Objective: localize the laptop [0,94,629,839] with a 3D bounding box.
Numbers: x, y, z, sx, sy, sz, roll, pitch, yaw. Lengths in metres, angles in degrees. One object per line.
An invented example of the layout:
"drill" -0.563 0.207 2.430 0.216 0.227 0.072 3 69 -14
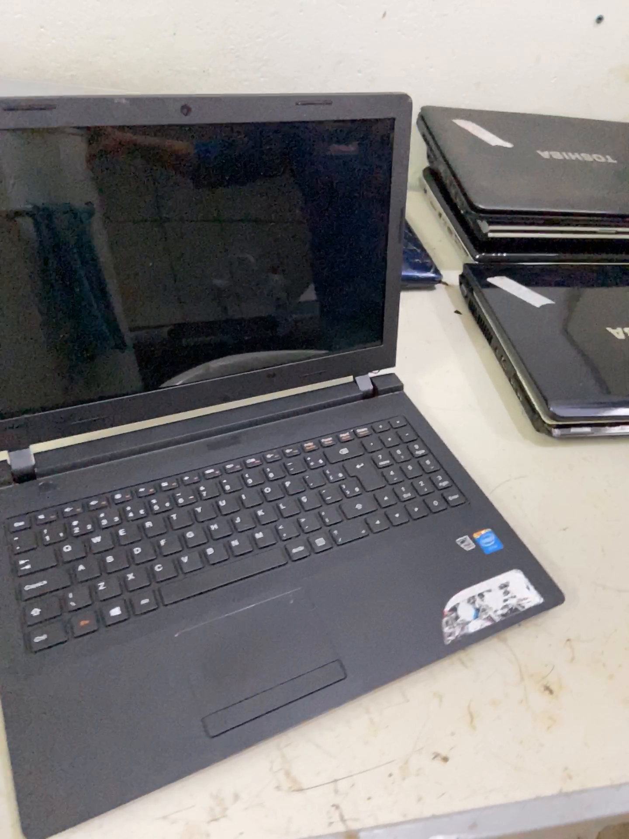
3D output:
"laptop" -0.030 -0.024 0.426 0.376 0.230 0.338 -14 50 -24
